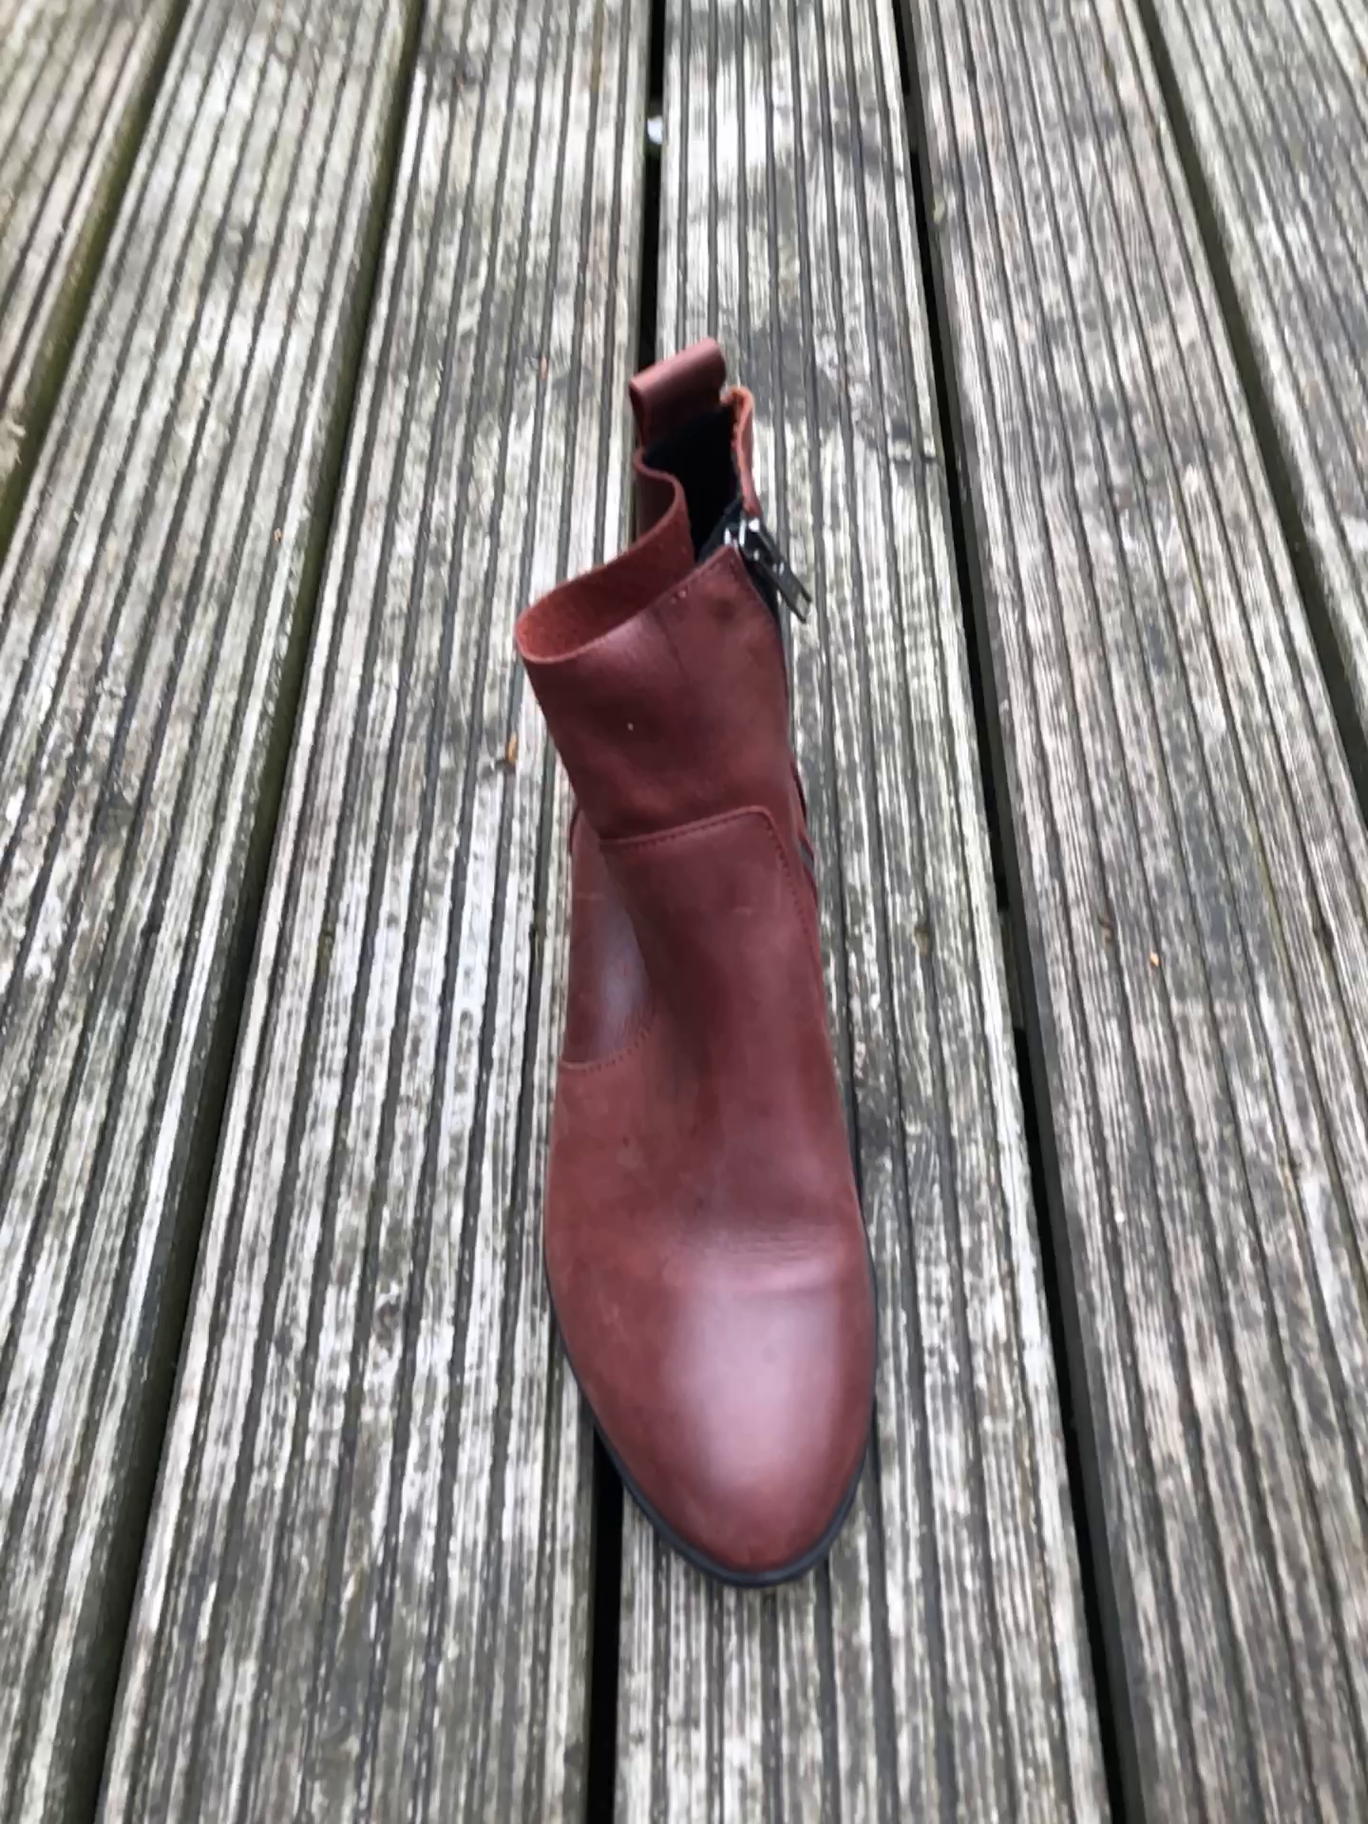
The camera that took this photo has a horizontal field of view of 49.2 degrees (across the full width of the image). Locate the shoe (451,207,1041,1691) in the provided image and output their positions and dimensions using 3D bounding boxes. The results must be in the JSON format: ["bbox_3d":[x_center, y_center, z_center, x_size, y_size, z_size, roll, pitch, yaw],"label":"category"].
[{"bbox_3d":[0.017,0.017,0.419,0.090,0.239,0.342,0,59,3],"label":"shoe"}]
